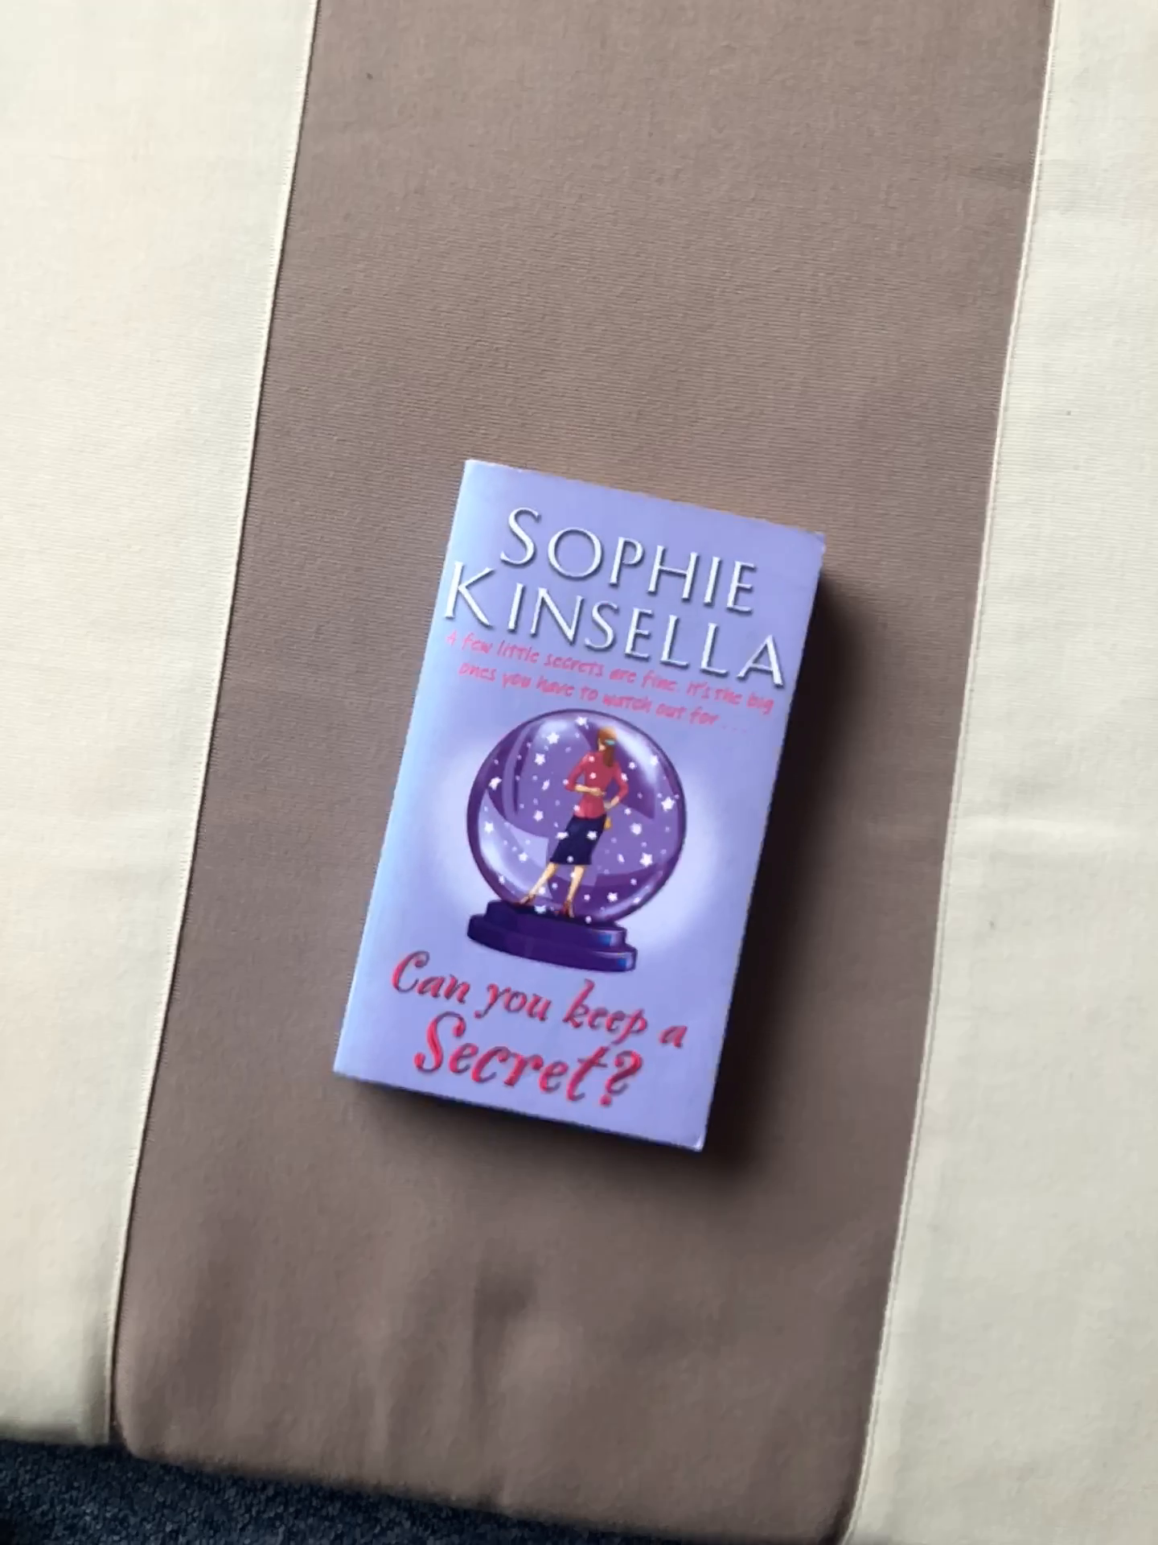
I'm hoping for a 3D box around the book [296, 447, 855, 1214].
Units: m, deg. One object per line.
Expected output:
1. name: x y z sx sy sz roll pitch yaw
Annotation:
1. book: 0.000 0.015 0.349 0.110 0.040 0.180 12 88 -2
